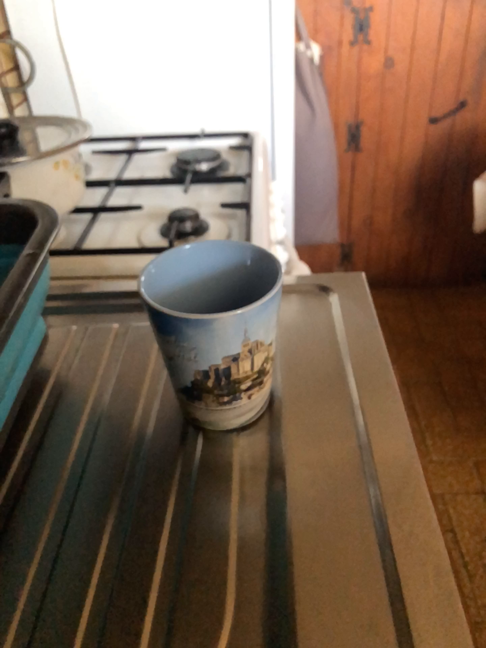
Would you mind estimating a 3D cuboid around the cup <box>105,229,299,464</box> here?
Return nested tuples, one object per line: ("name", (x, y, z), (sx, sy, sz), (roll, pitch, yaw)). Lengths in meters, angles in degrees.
("cup", (-0.016, 0.009, 0.376), (0.100, 0.099, 0.131), (2, 35, 8))
